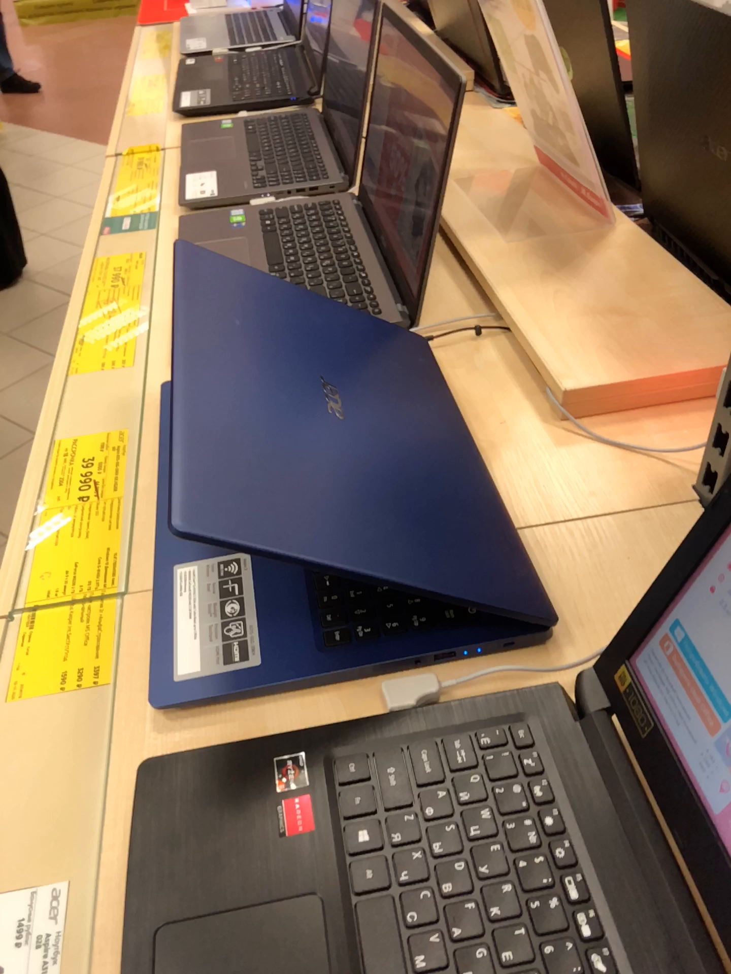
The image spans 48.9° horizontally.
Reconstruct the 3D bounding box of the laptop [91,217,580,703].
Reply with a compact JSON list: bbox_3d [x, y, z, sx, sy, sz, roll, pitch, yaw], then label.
[{"bbox_3d":[-0.036,-0.053,0.582,0.245,0.126,0.369,-9,38,-4],"label":"laptop"}]

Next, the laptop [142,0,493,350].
[{"bbox_3d":[-0.066,-0.369,0.893,0.302,0.206,0.392,-11,40,-3],"label":"laptop"}]

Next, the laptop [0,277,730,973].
[{"bbox_3d":[0.071,0.140,0.231,0.353,0.227,0.359,-8,38,-2],"label":"laptop"}]
